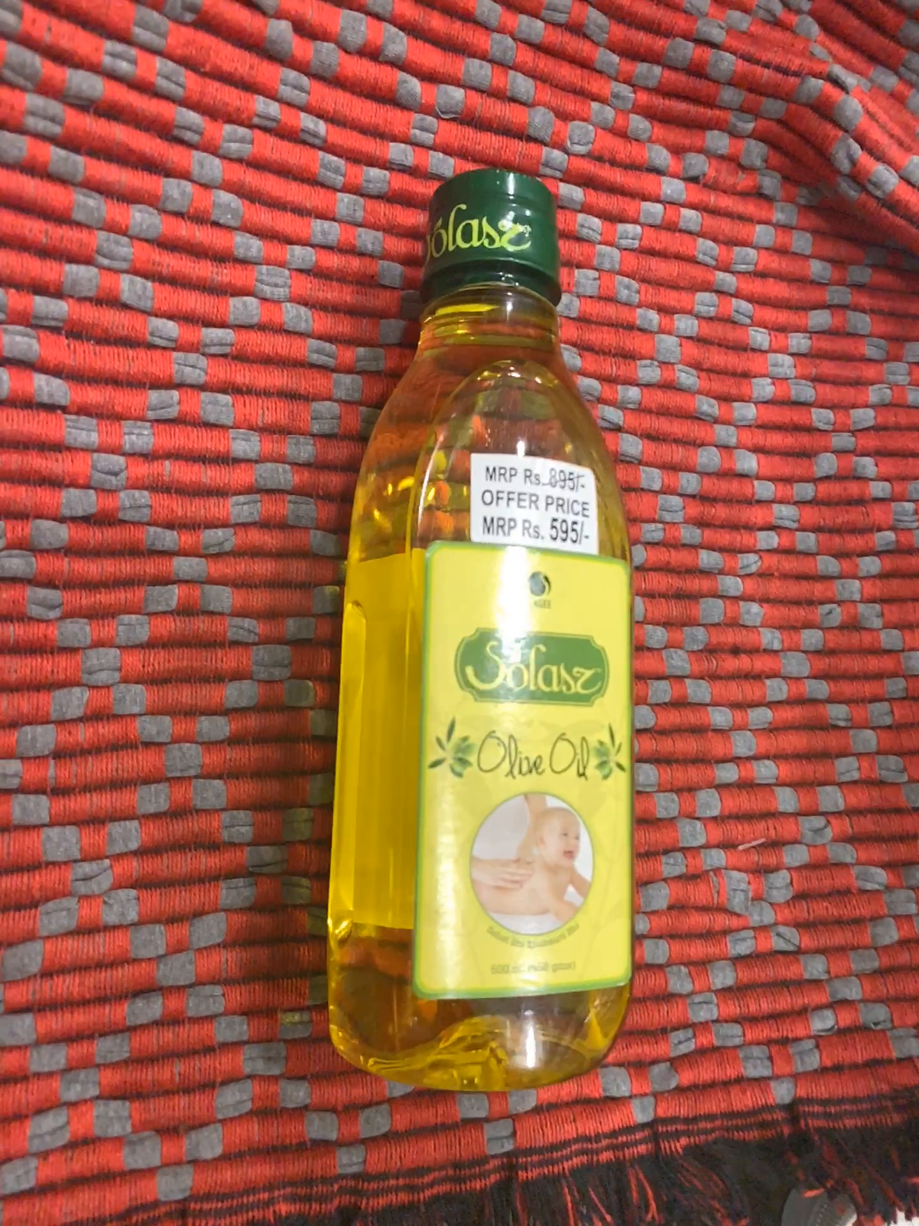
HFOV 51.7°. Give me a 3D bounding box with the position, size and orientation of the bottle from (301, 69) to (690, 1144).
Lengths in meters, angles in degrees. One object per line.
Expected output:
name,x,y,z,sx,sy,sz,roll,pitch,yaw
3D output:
bottle,0.007,-0.005,0.230,0.070,0.060,0.220,4,80,-18
